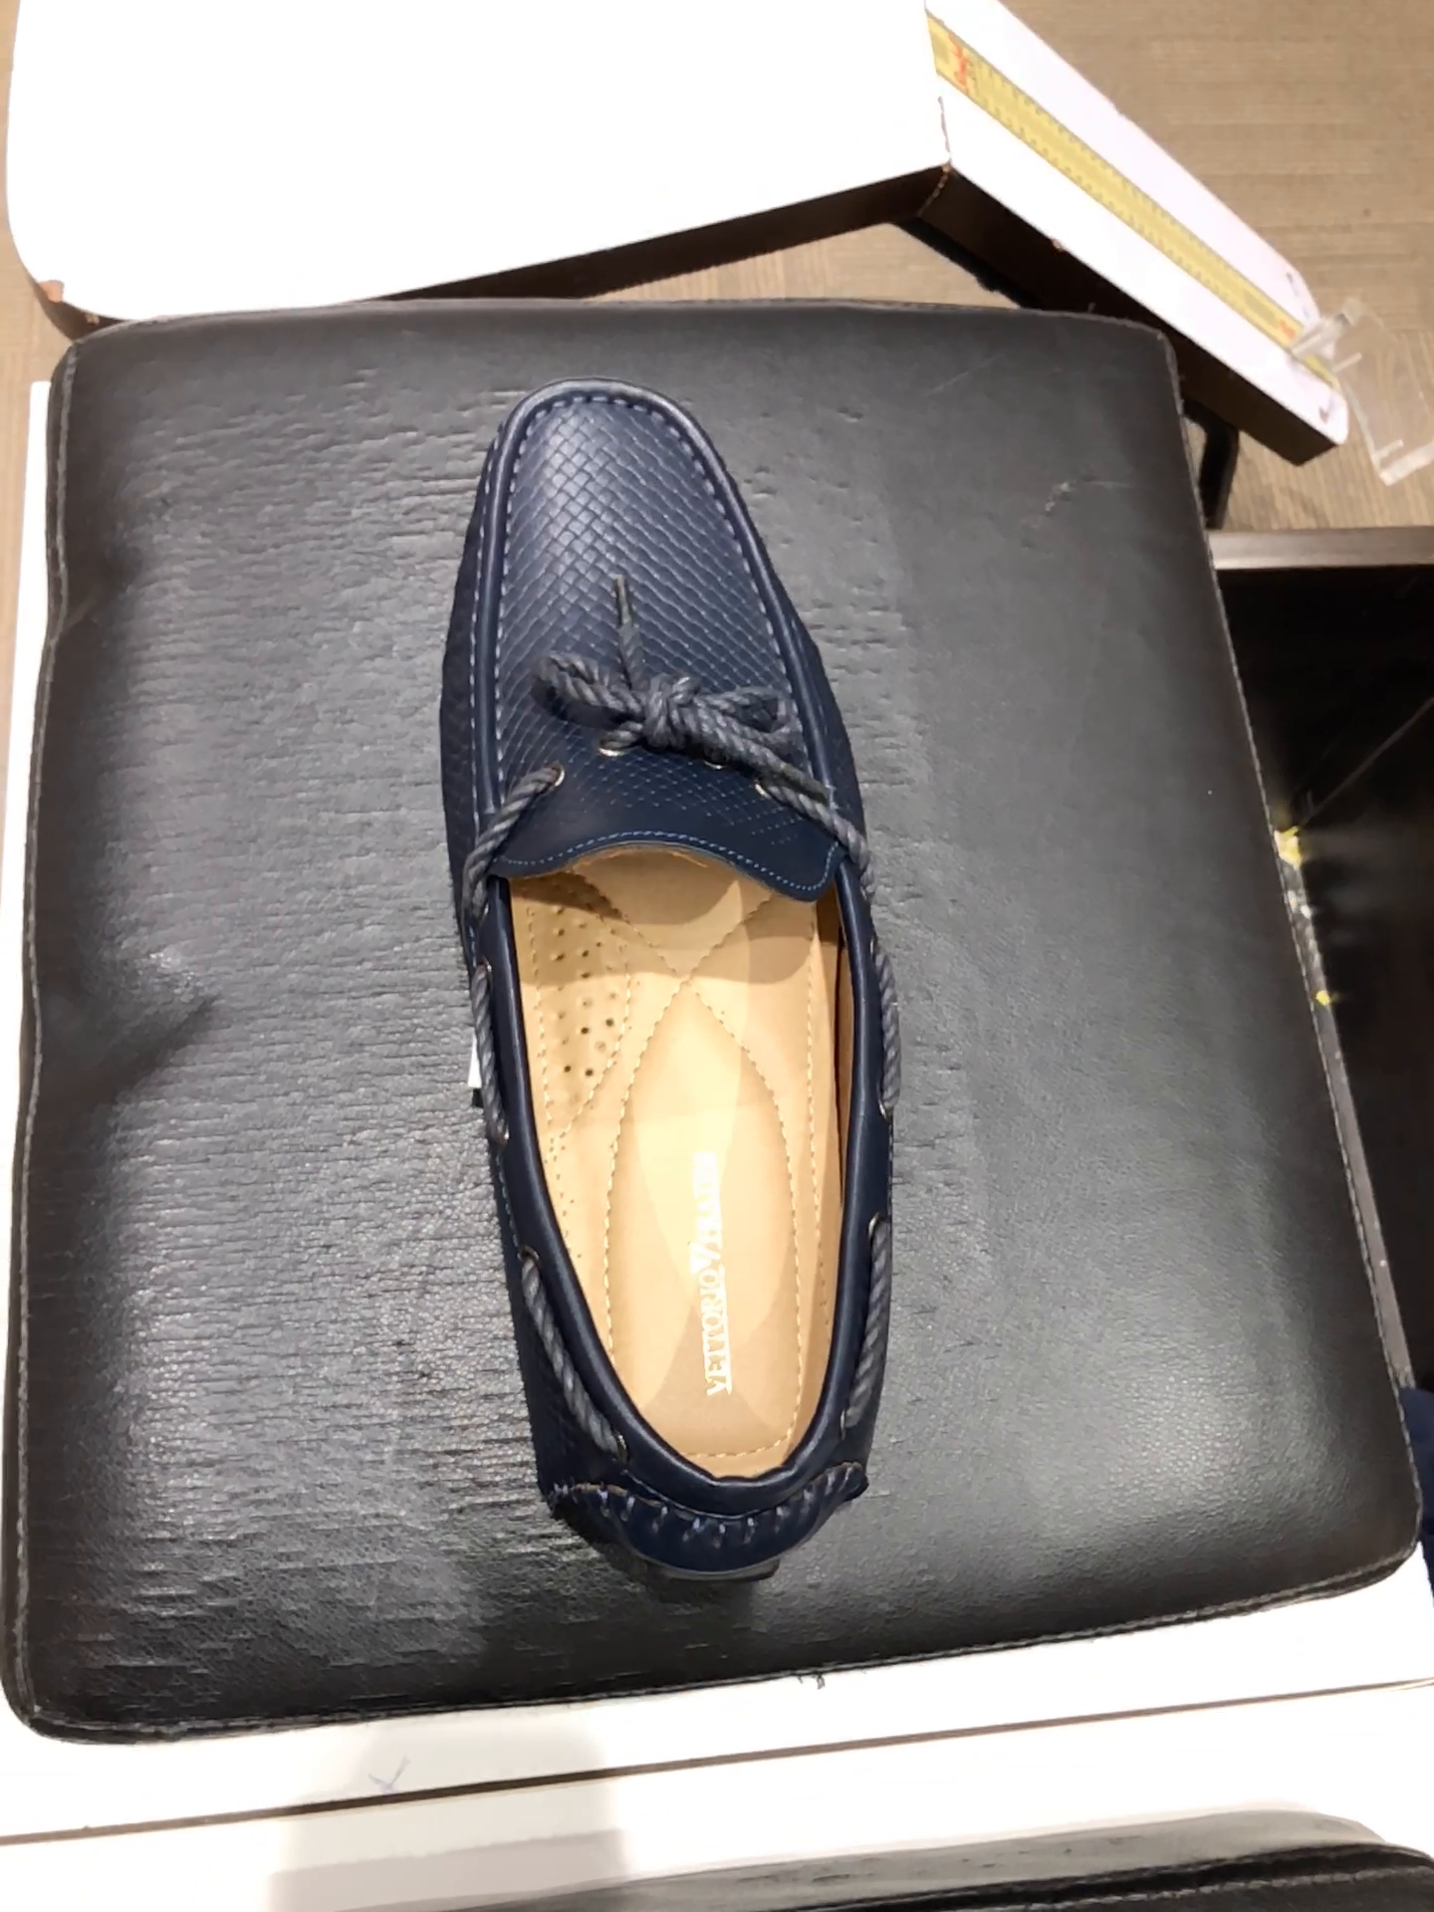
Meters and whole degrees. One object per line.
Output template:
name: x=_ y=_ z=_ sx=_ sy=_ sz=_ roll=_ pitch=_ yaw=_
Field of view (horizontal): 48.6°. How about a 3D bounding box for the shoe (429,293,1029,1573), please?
shoe: x=-0.008 y=-0.011 z=0.360 sx=0.100 sy=0.080 sz=0.271 roll=-3 pitch=72 yaw=-6
